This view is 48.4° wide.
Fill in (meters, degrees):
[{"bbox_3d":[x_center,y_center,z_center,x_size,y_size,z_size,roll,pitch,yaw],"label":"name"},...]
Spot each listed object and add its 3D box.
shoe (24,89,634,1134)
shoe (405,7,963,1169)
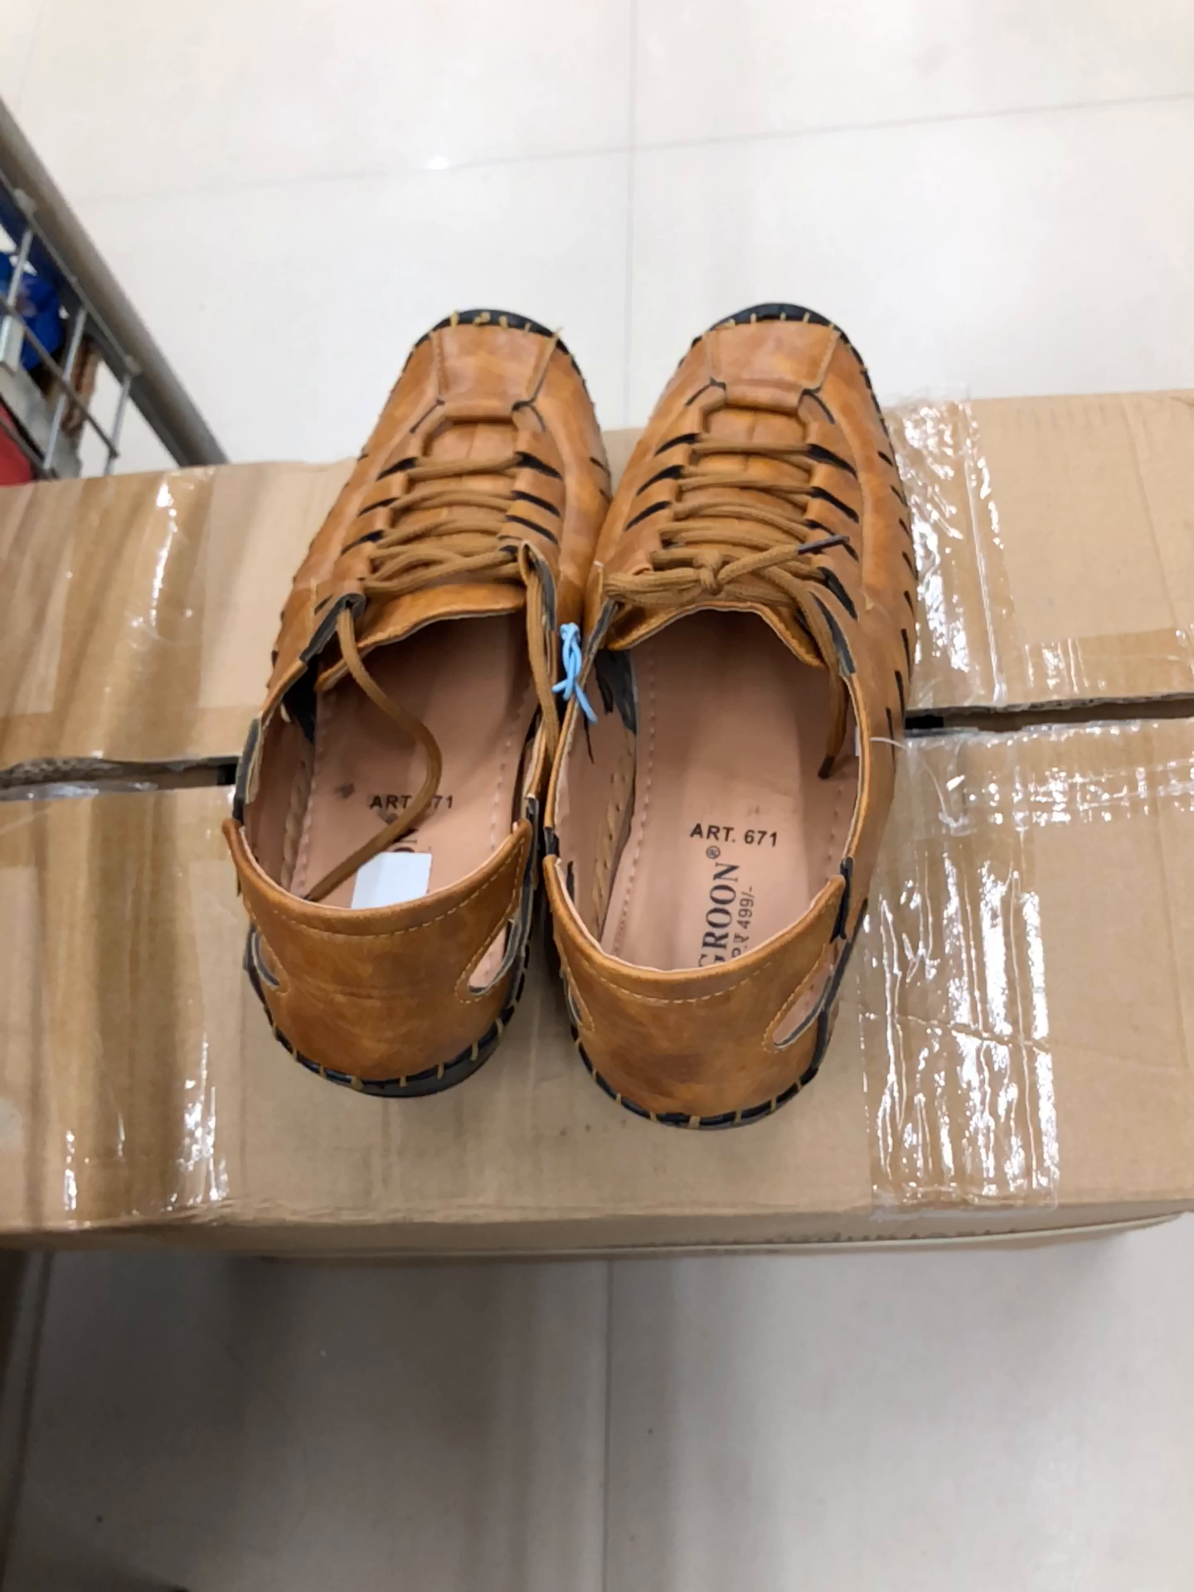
[{"bbox_3d":[-0.059,-0.056,0.408,0.110,0.120,0.291,1,68,9],"label":"shoe"},{"bbox_3d":[0.039,-0.060,0.378,0.110,0.120,0.301,3,69,10],"label":"shoe"}]
